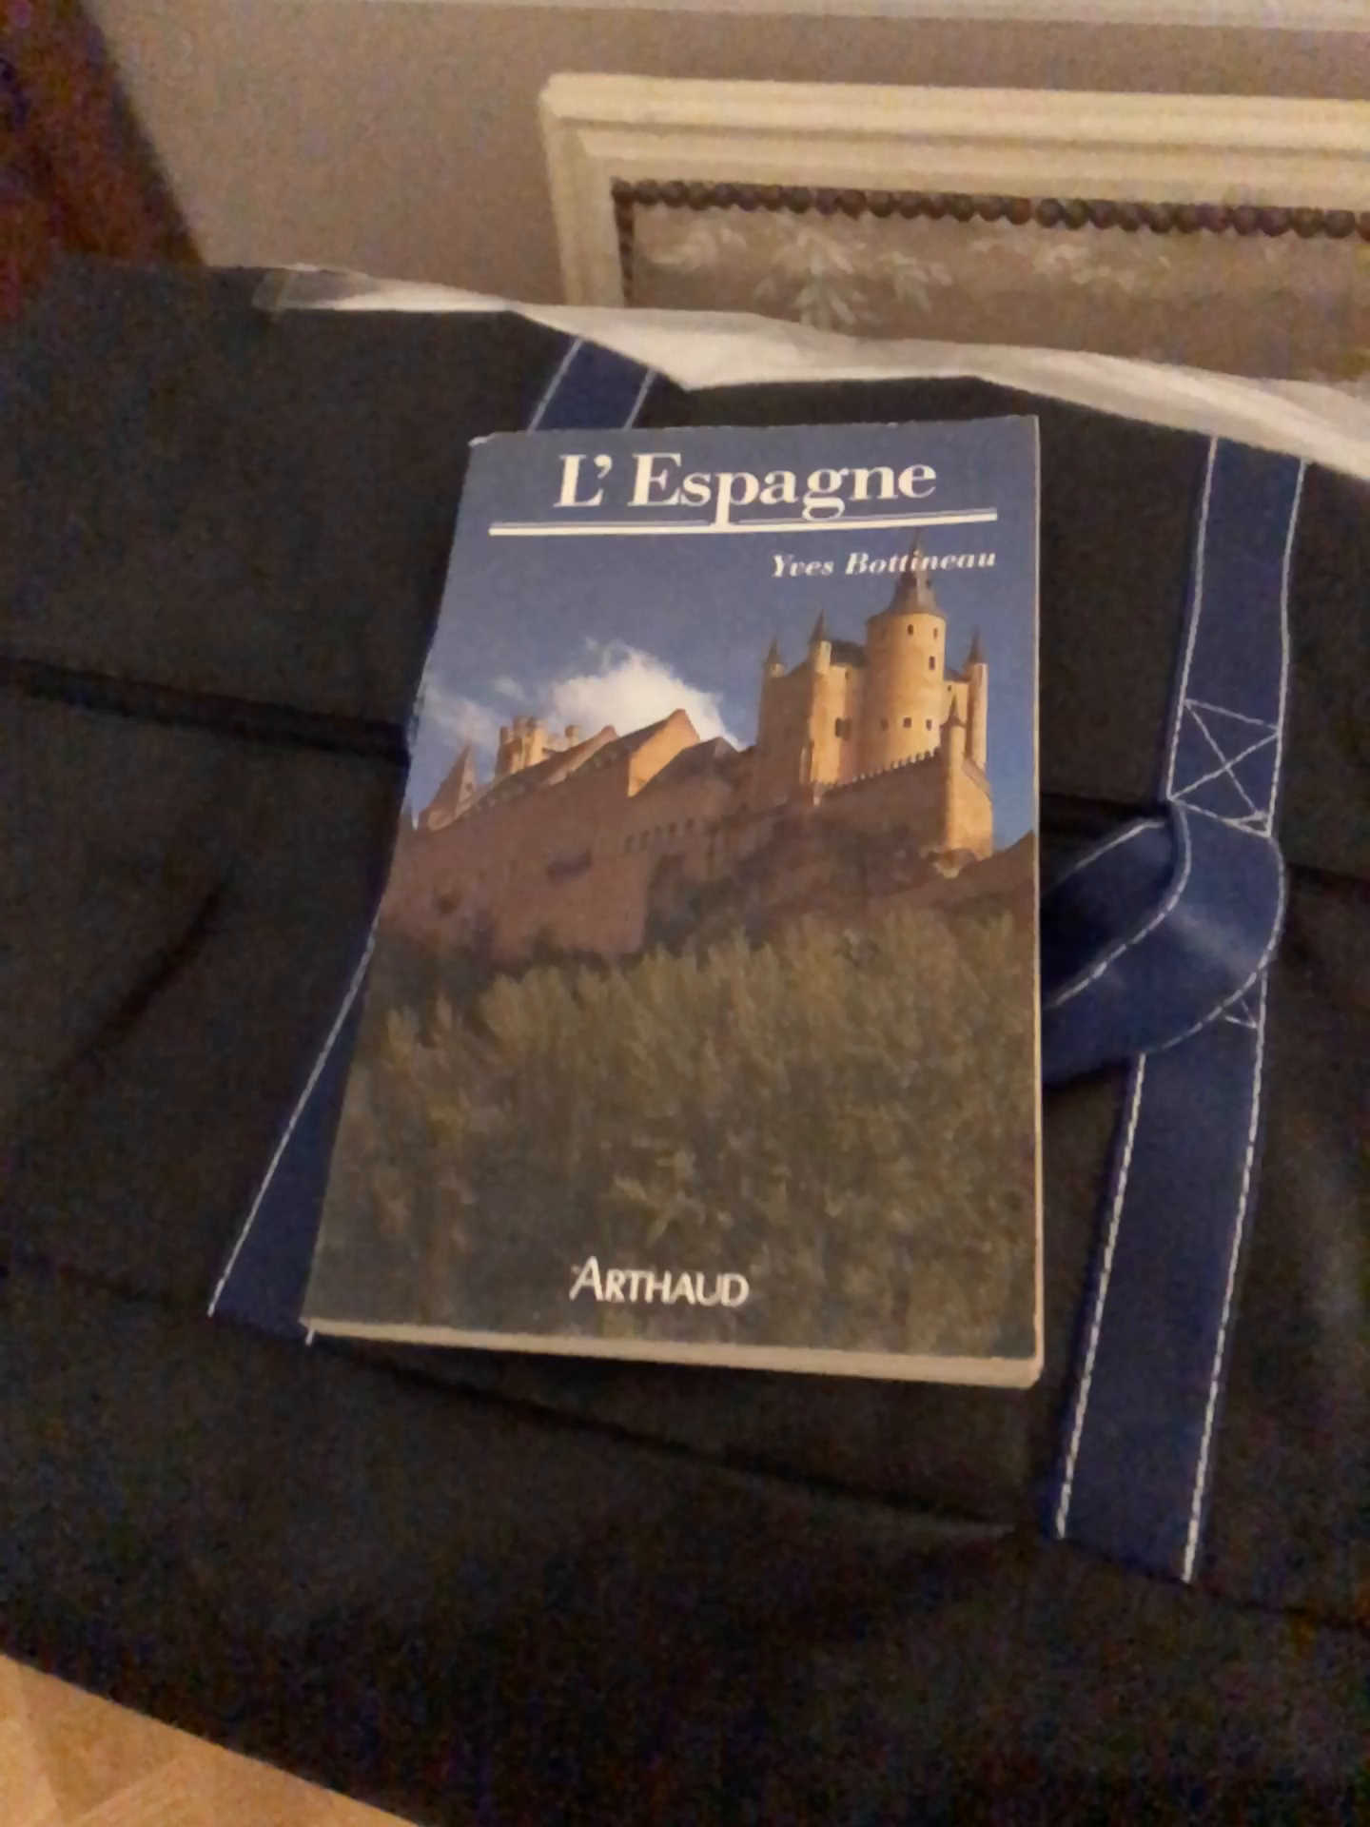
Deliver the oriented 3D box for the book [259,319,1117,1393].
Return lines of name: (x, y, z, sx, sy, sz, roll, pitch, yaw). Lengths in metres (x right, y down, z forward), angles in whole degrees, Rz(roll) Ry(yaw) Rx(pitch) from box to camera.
book: (0.009, -0.025, 0.355, 0.170, 0.030, 0.251, -1, 66, 13)
